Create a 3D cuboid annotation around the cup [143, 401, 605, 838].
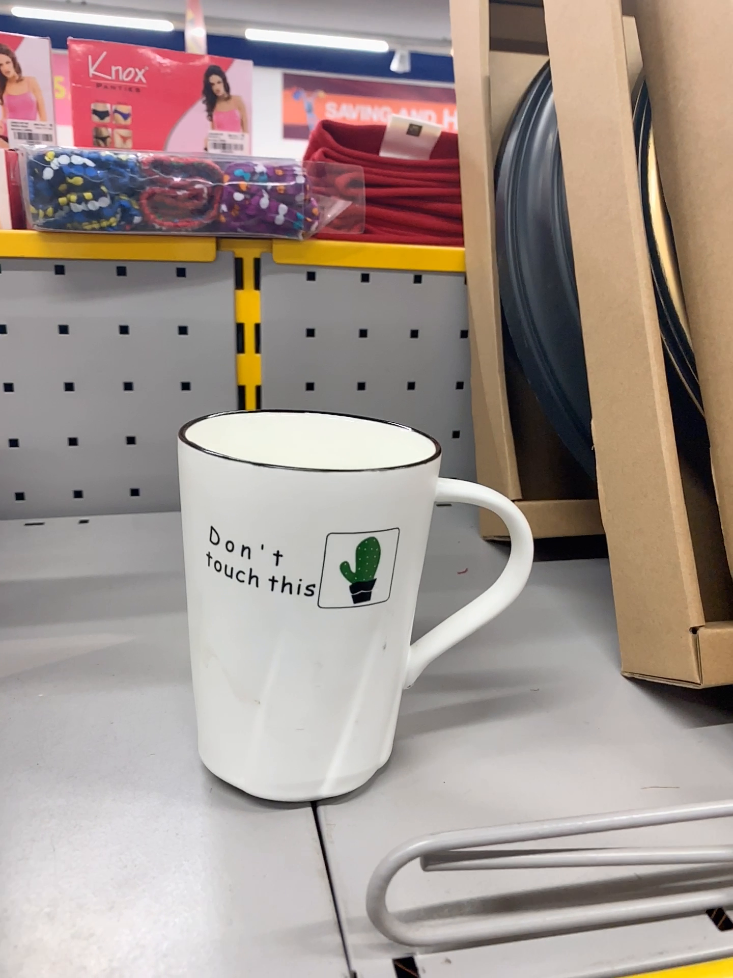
[{"bbox_3d":[-0.004,0.037,0.271,0.130,0.120,0.090,0,18,-9],"label":"cup"}]
